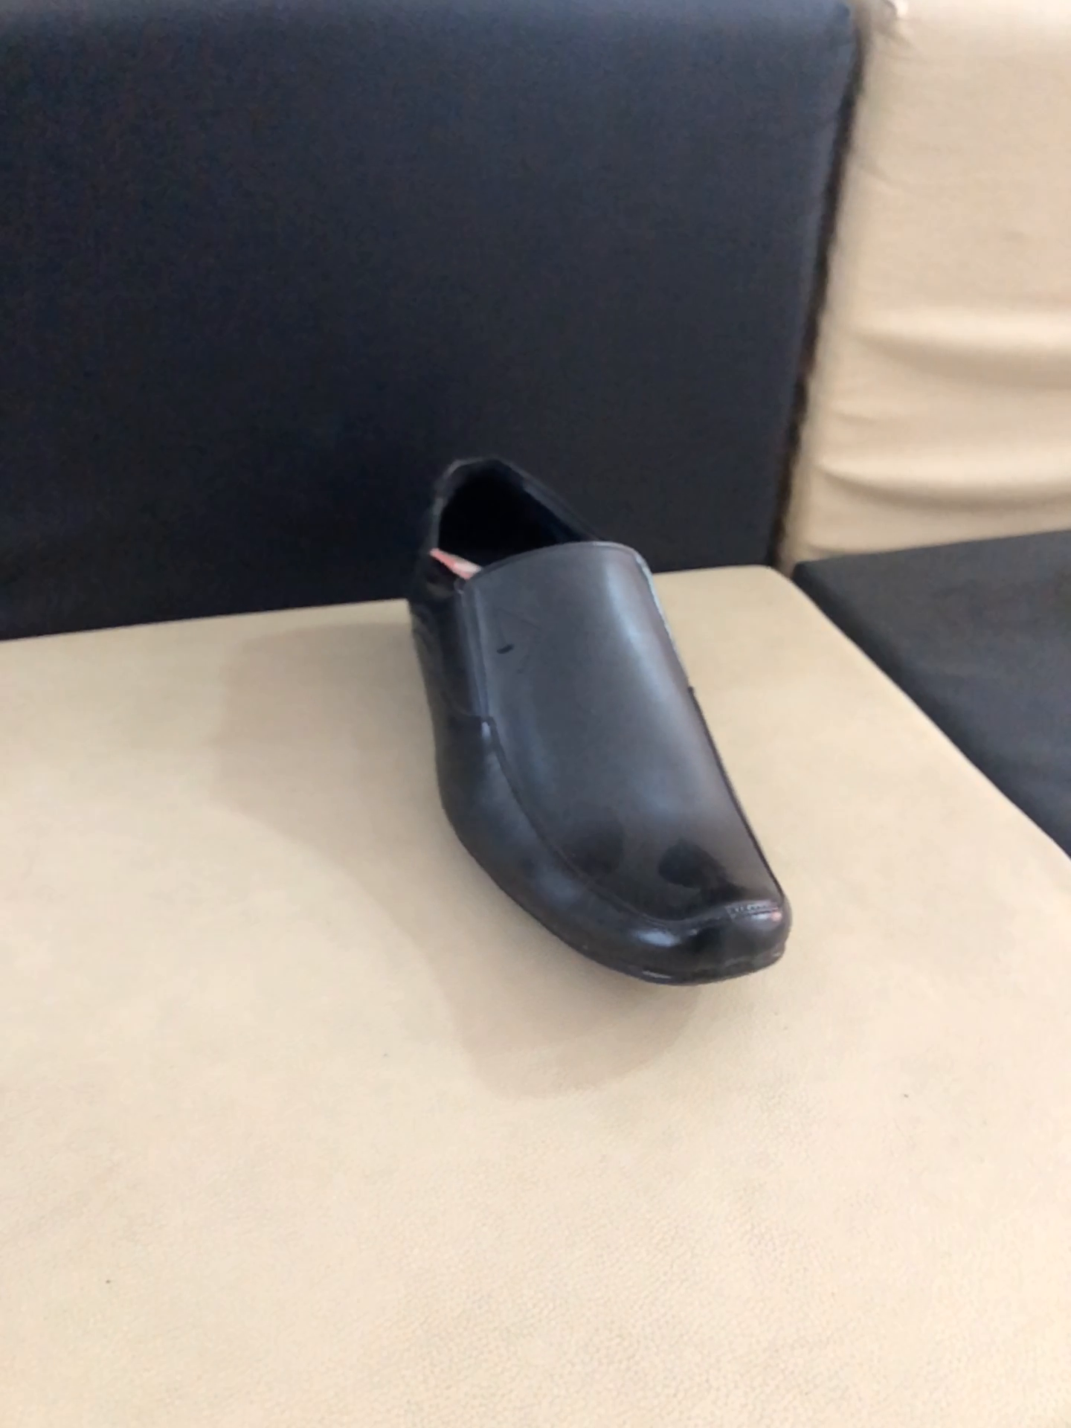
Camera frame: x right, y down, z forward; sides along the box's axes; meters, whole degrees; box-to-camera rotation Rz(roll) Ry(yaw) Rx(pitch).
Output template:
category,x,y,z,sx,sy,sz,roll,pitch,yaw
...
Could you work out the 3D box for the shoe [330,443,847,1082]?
category,x,y,z,sx,sy,sz,roll,pitch,yaw
shoe,-0.002,-0.007,0.464,0.090,0.090,0.281,-10,36,-18
